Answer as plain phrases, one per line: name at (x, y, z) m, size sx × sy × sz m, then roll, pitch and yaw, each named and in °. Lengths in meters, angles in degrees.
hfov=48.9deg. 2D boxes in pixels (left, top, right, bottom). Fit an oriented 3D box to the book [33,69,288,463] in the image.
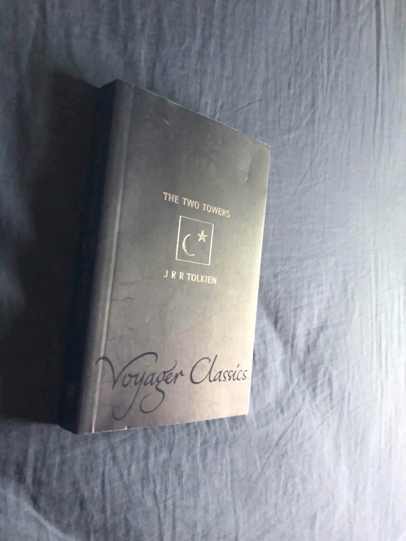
book at (-0.018, 0.001, 0.285) m, size 0.140 × 0.060 × 0.190 m, roll 7°, pitch 86°, yaw -44°
